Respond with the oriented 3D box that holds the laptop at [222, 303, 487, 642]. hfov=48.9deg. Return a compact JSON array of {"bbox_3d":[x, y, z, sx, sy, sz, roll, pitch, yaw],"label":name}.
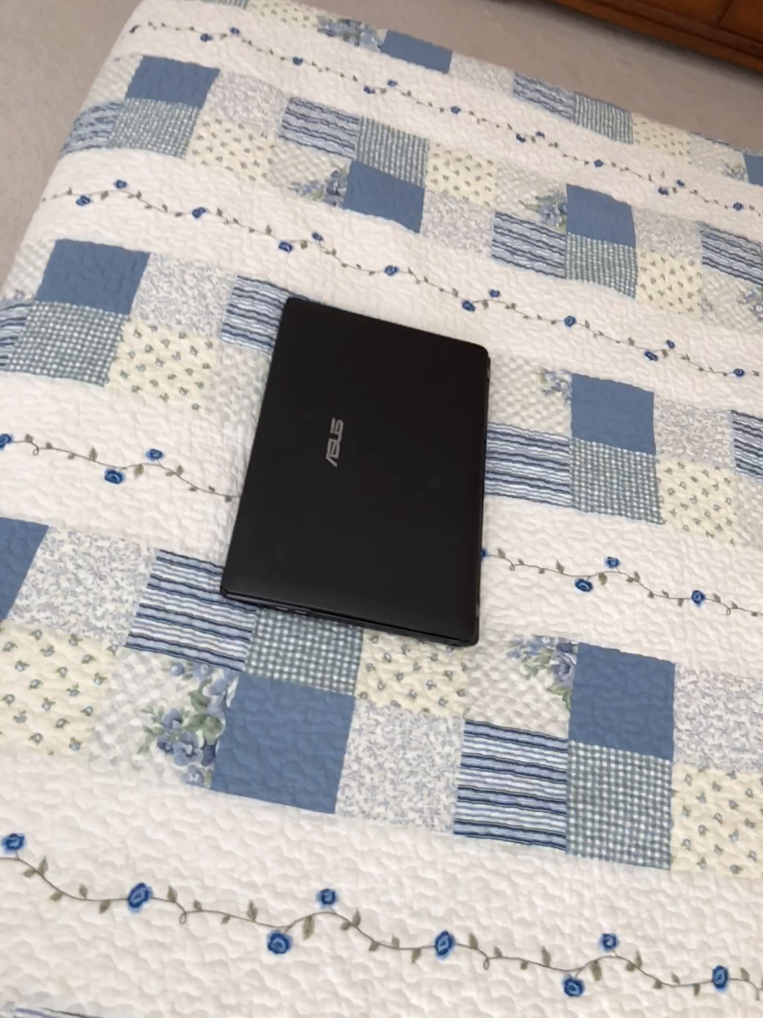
[{"bbox_3d":[-0.009,-0.054,0.870,0.234,0.006,0.370,13,56,-8],"label":"laptop"}]
